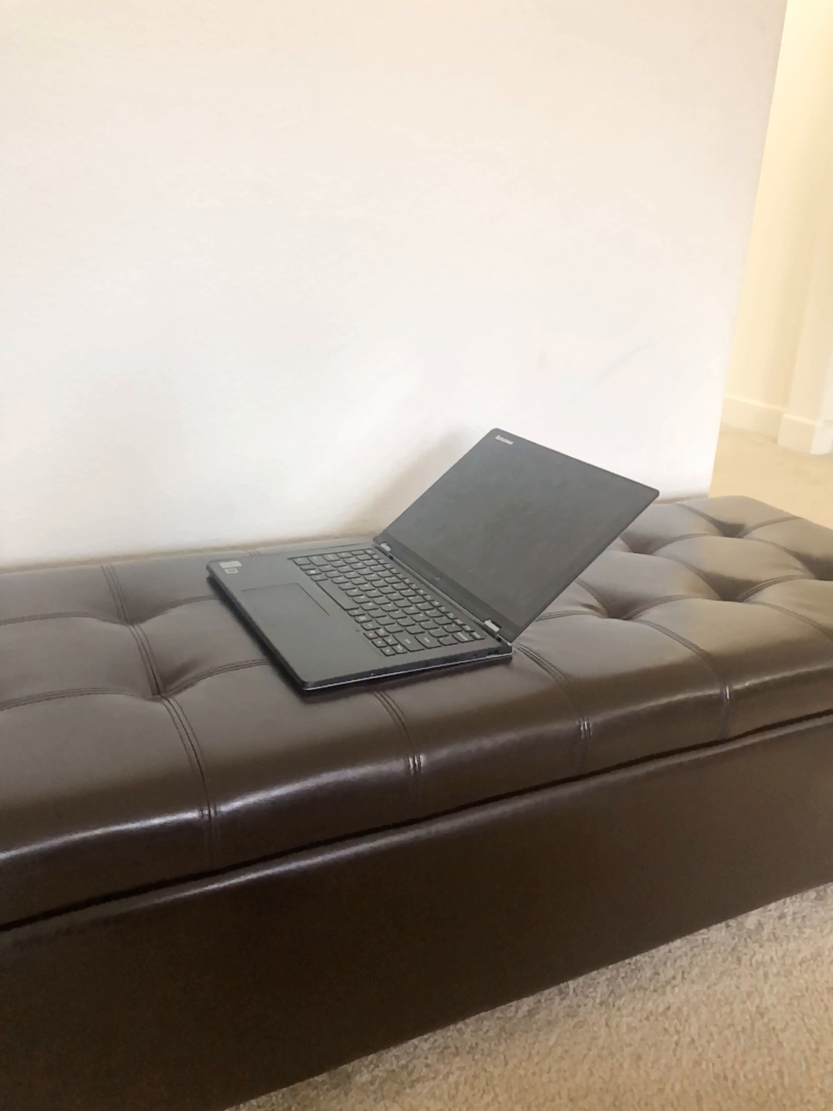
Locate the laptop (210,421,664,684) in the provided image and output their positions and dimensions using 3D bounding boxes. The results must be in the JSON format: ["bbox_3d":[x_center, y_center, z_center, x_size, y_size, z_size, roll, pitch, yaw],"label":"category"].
[{"bbox_3d":[0.006,-0.026,0.830,0.317,0.115,0.262,-9,23,-26],"label":"laptop"}]
